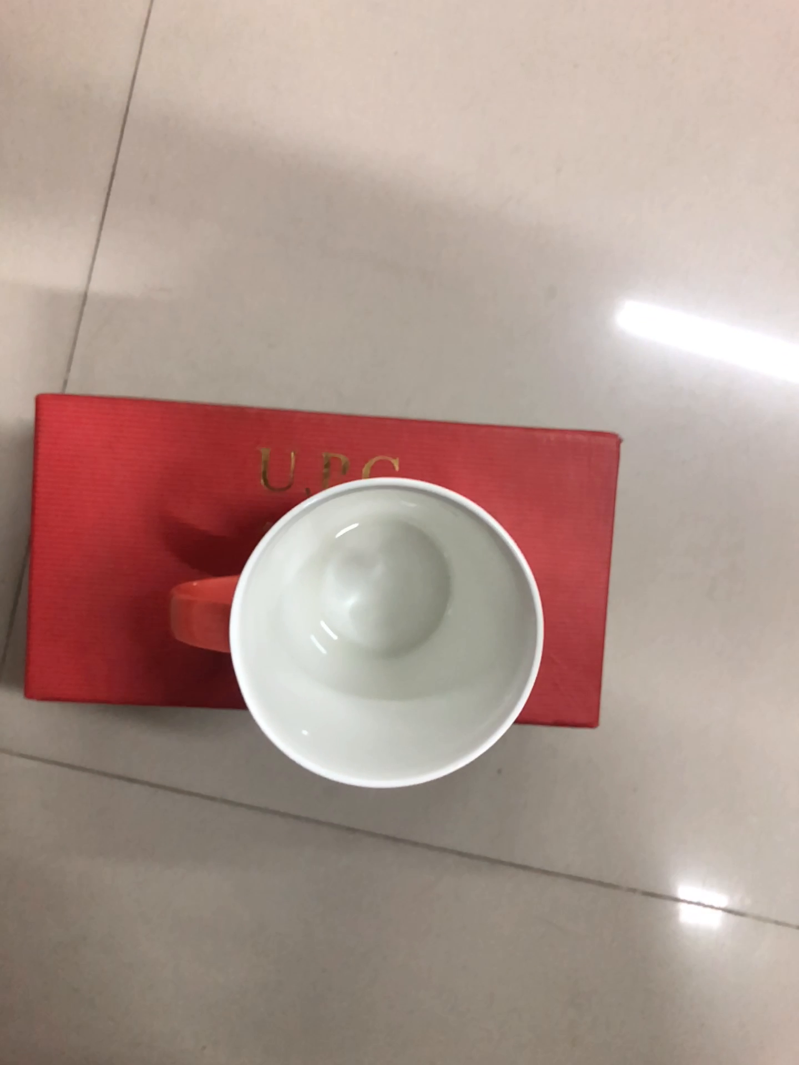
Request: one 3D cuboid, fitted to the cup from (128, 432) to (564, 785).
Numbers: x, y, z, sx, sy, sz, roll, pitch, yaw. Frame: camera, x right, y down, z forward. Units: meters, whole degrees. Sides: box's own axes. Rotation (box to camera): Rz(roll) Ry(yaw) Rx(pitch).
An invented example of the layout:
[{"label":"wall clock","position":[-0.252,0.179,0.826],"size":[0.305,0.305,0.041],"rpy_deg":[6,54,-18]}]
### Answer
[{"label":"cup","position":[-0.016,0.017,0.275],"size":[0.110,0.090,0.090],"rpy_deg":[1,95,-3]}]
